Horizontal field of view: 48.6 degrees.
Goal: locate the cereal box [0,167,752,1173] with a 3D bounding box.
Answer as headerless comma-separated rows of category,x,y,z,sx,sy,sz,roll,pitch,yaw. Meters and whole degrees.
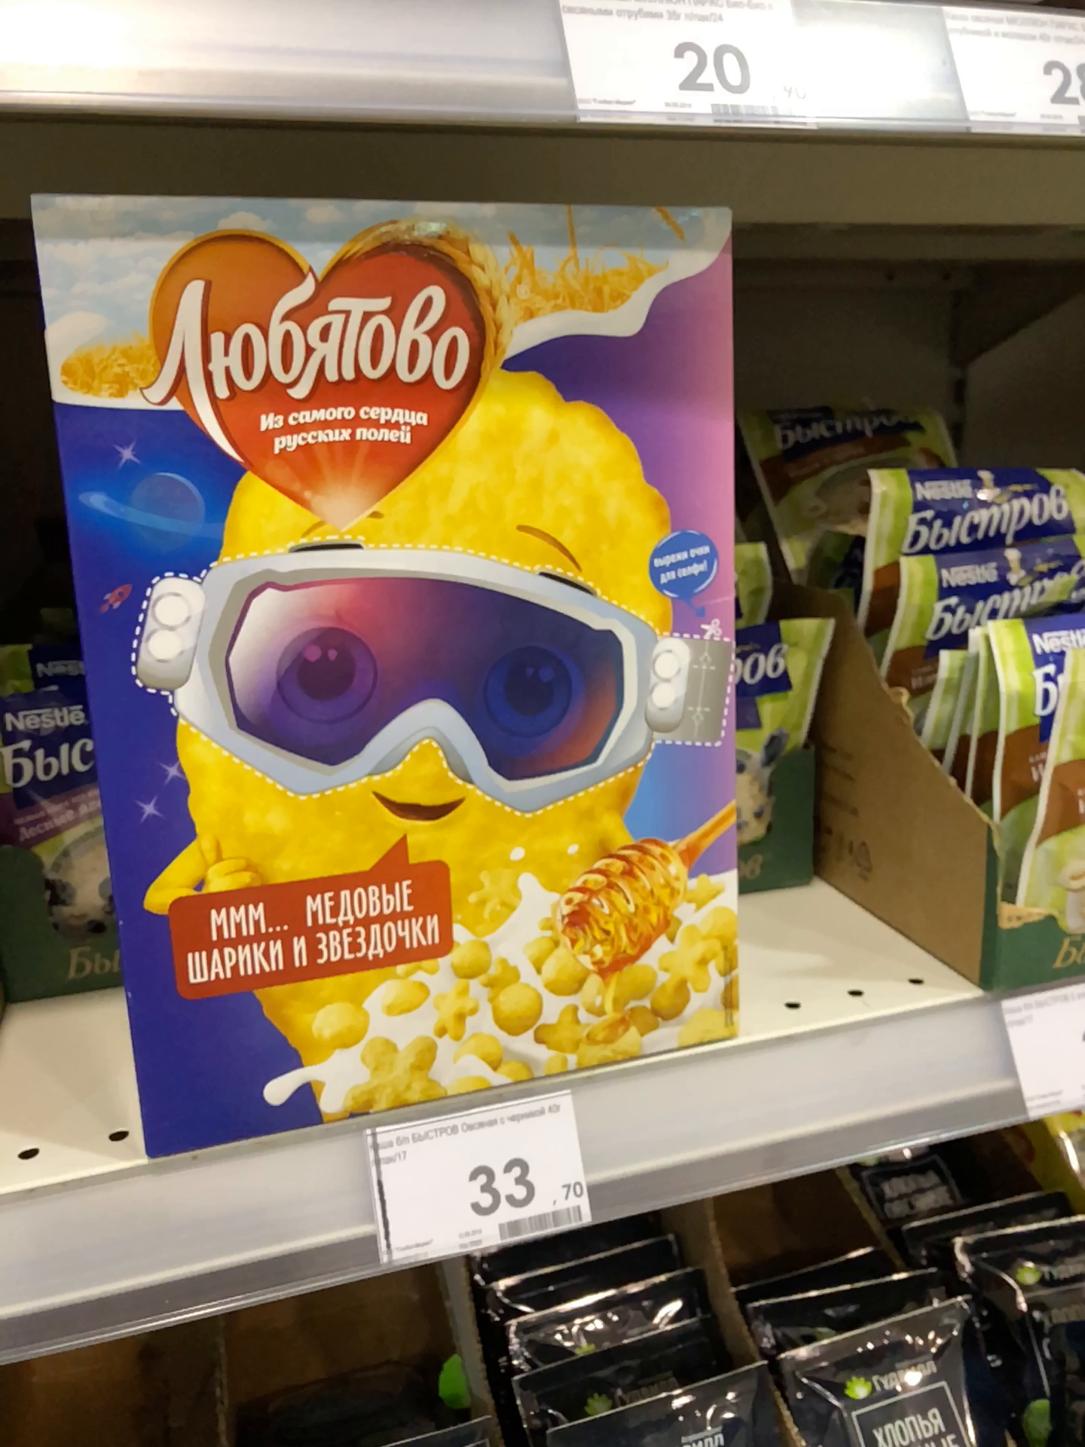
cereal box,-0.040,-0.018,0.358,0.200,0.259,0.050,-6,13,-17
